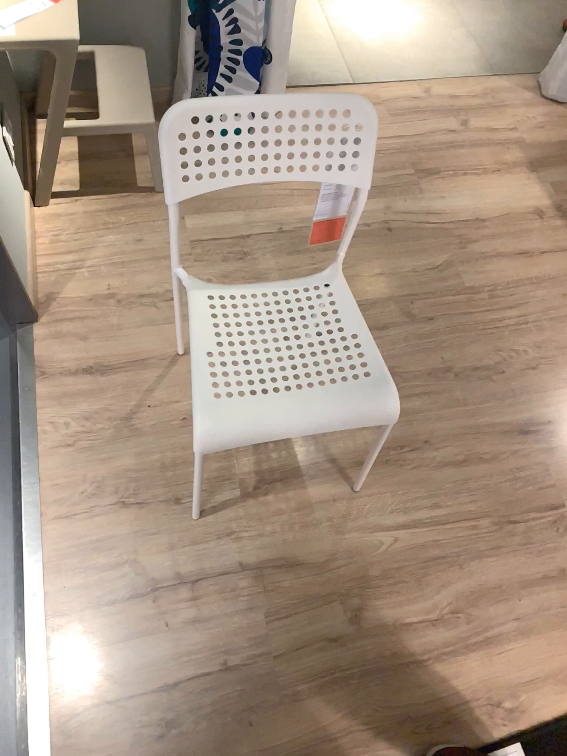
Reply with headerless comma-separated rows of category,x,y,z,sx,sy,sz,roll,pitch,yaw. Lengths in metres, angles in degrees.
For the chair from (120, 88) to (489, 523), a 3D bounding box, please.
chair,-0.025,-0.098,1.110,0.430,0.609,0.531,-9,63,-11
